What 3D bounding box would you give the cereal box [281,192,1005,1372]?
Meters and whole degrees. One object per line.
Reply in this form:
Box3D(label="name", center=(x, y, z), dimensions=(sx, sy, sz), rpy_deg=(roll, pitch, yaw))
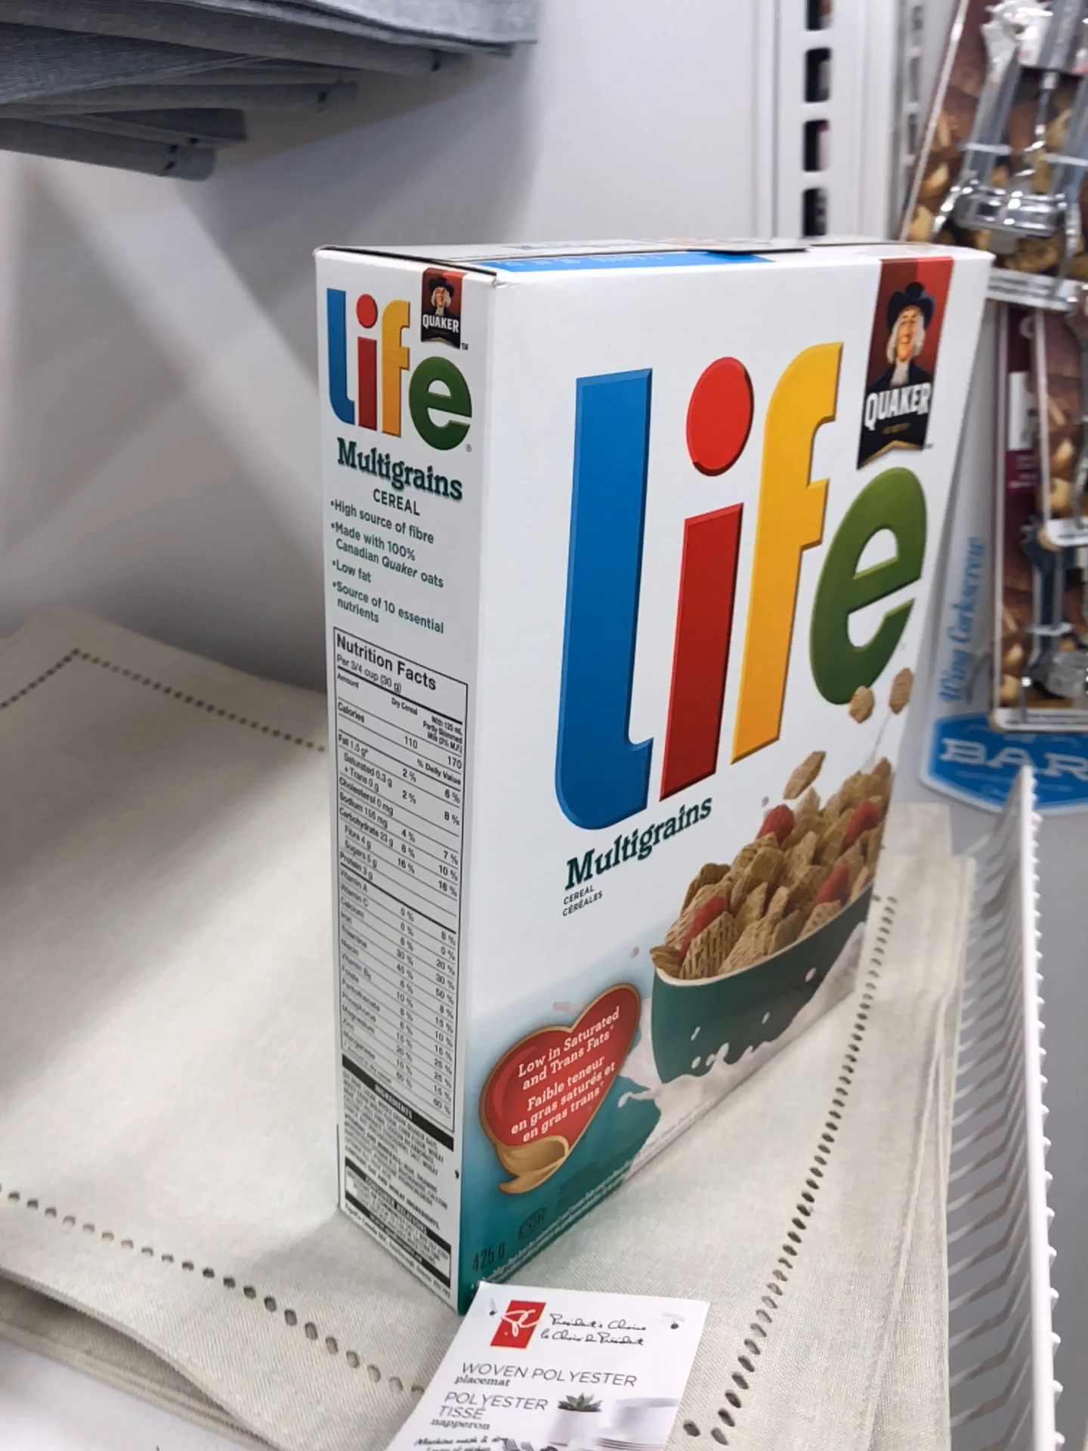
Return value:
Box3D(label="cereal box", center=(0.035, 0.002, 0.351), dimensions=(0.060, 0.279, 0.210), rpy_deg=(22, 30, 37))
